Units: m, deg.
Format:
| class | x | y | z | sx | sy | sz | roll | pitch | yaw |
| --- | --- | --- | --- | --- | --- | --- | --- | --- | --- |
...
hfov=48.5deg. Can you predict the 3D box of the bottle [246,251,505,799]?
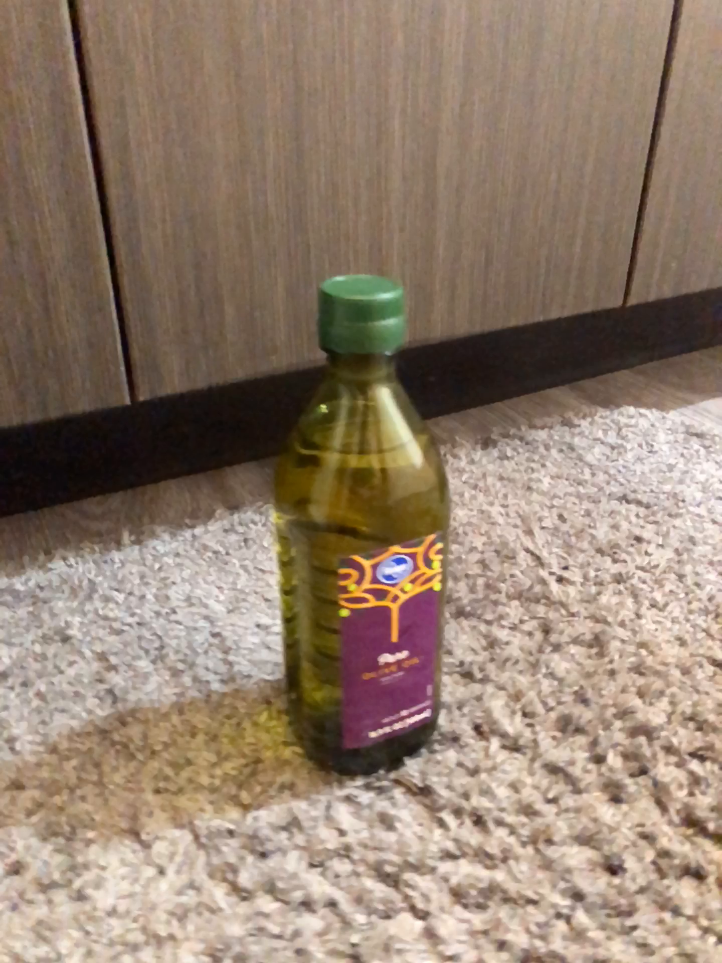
| class | x | y | z | sx | sy | sz | roll | pitch | yaw |
| --- | --- | --- | --- | --- | --- | --- | --- | --- | --- |
| bottle | 0.002 | 0.024 | 0.320 | 0.070 | 0.209 | 0.060 | -10 | 32 | -17 |
